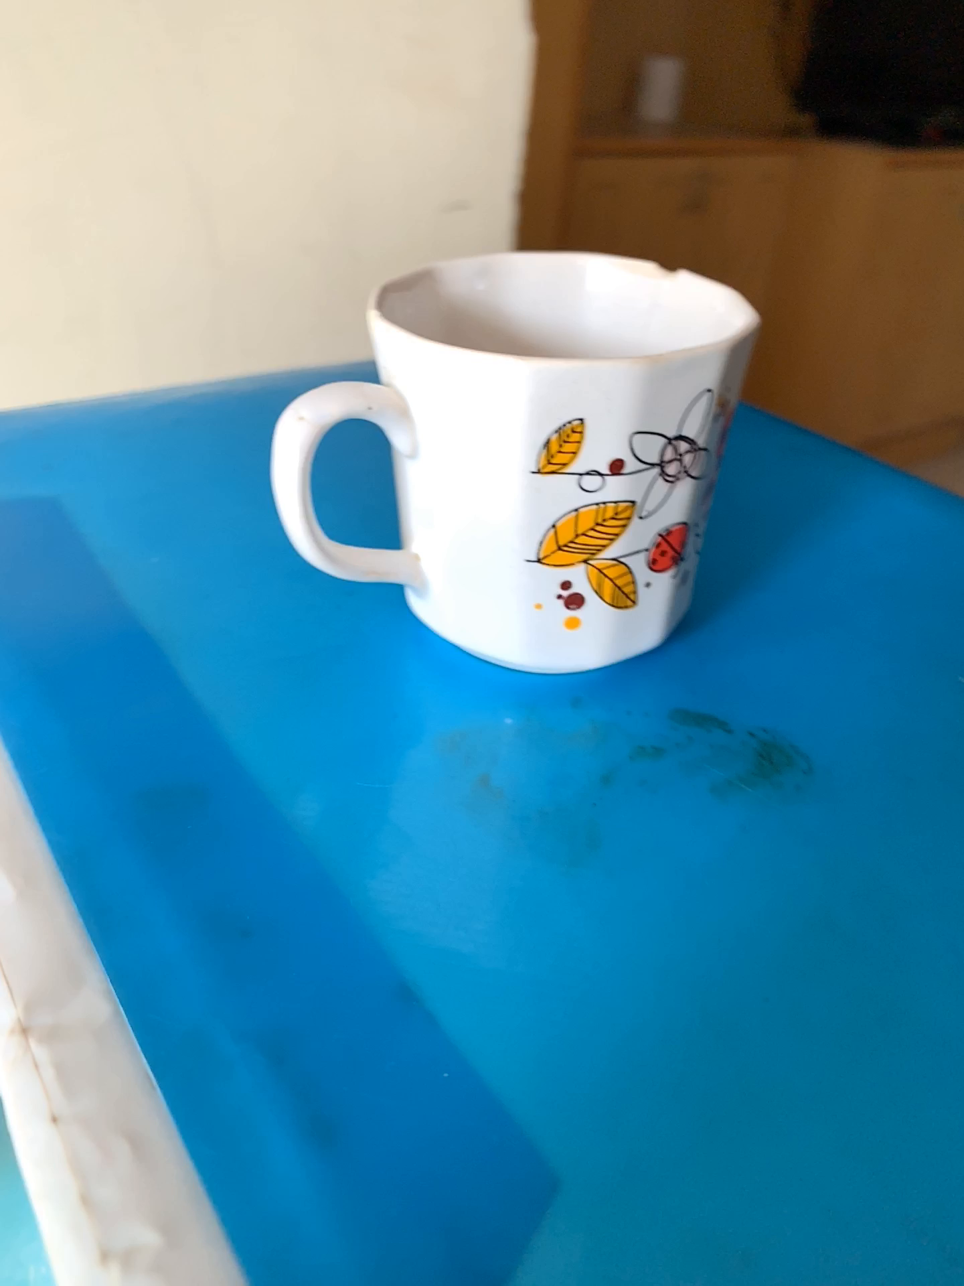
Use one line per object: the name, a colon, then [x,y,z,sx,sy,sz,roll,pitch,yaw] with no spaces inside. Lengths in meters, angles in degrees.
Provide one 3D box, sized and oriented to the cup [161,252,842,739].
cup: [-0.001,-0.036,0.195,0.100,0.060,0.070,-10,35,-23]
